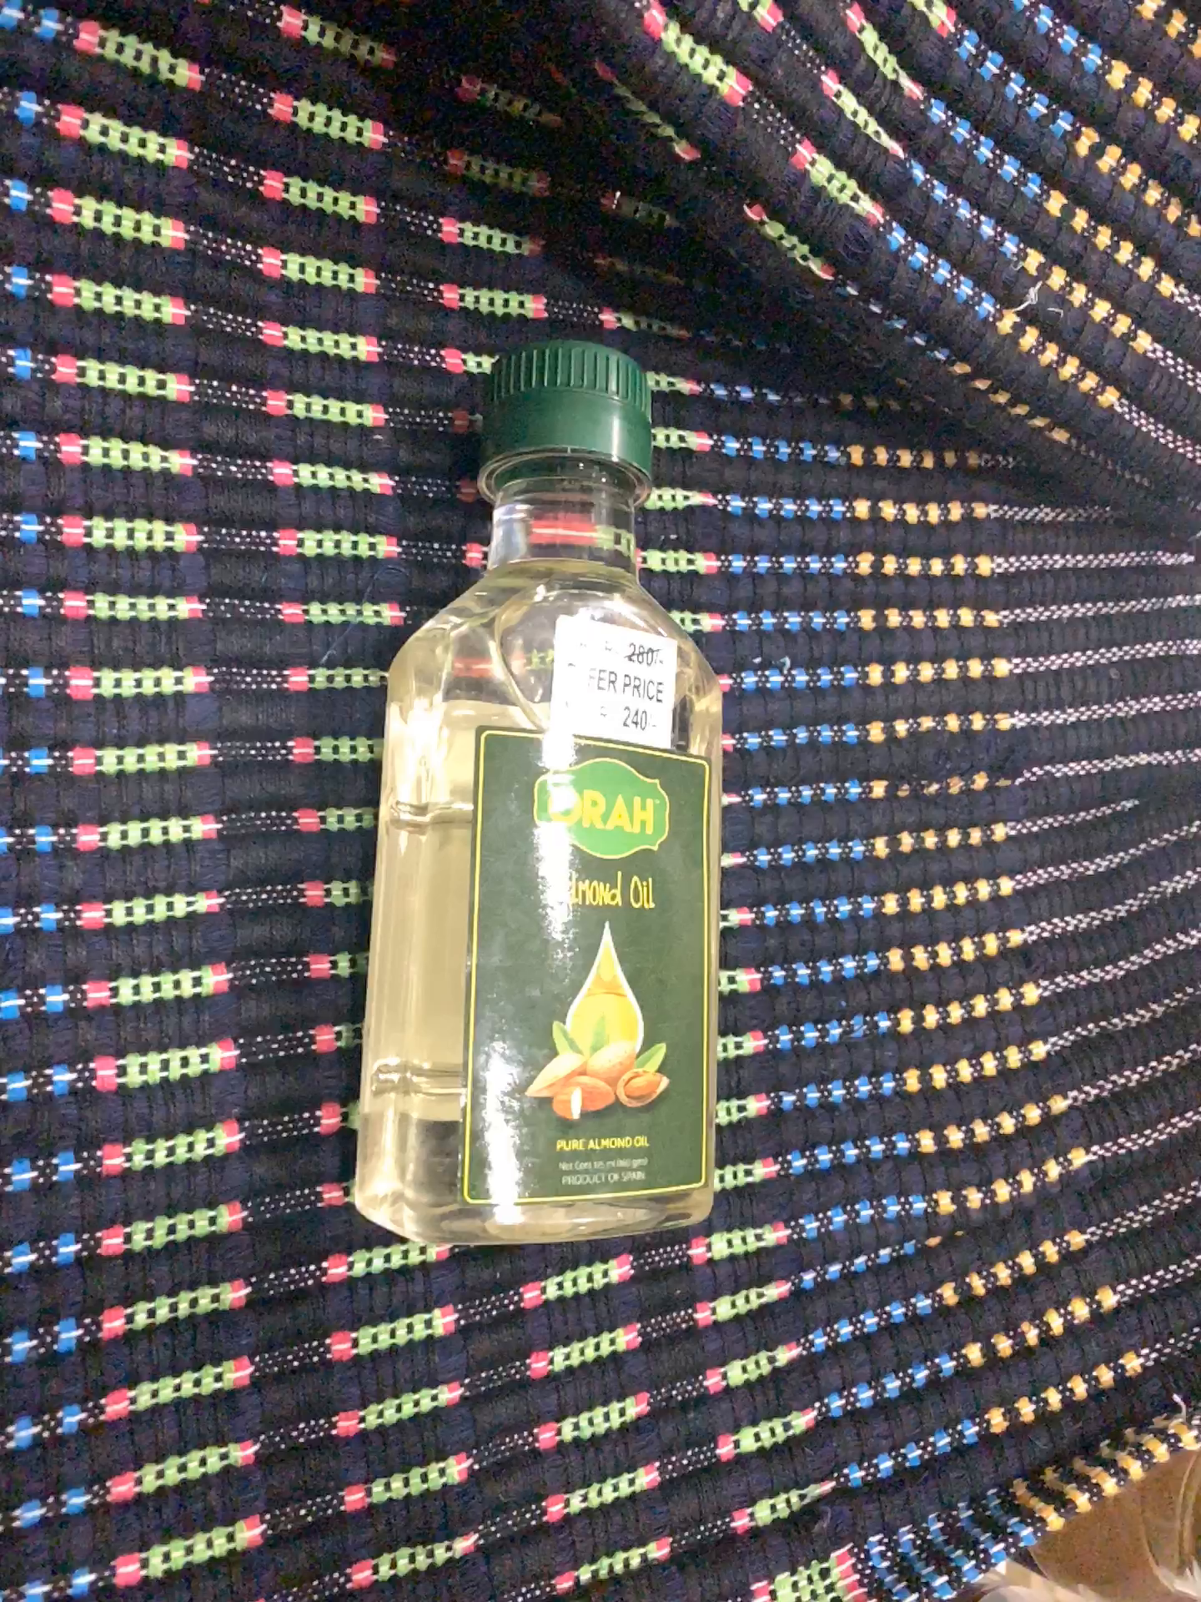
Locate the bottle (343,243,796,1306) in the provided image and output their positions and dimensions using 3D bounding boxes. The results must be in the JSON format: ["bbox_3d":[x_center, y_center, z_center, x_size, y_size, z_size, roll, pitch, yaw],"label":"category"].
[{"bbox_3d":[-0.003,-0.004,0.200,0.060,0.030,0.150,7,77,-29],"label":"bottle"}]
